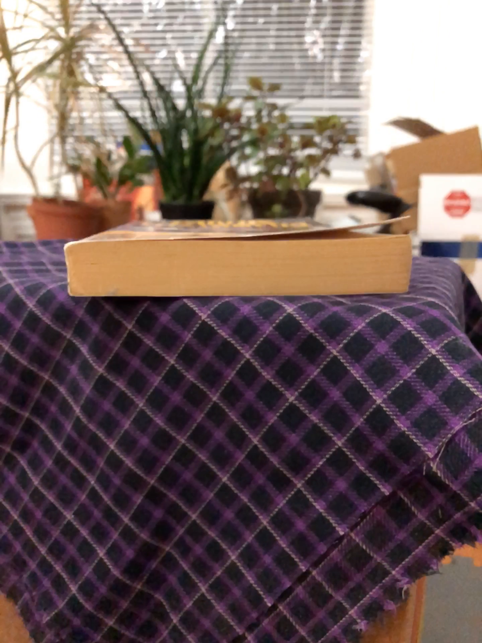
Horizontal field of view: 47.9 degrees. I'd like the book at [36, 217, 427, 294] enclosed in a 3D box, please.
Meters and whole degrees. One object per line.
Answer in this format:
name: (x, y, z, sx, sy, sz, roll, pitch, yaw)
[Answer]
book: (-0.008, -0.046, 0.318, 0.150, 0.020, 0.221, -1, 13, -3)
